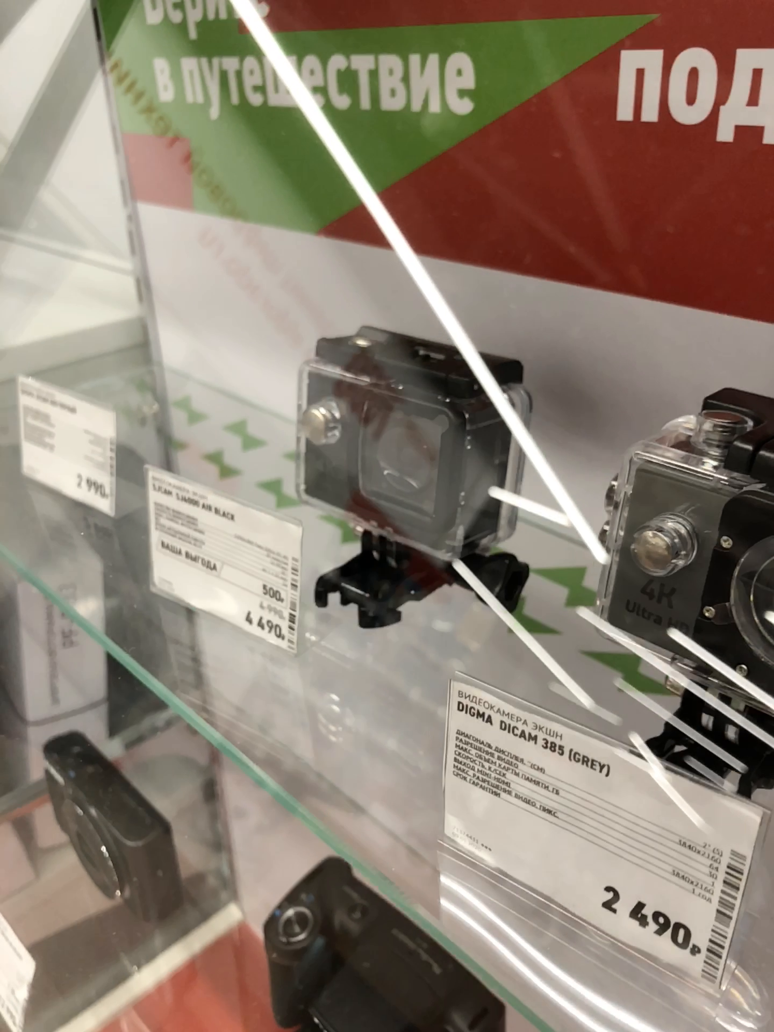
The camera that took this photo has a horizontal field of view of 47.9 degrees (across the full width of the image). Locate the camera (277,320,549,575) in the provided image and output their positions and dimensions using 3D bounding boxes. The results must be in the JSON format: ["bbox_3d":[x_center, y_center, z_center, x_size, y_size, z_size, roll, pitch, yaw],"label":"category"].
[{"bbox_3d":[0.005,-0.024,0.263,0.074,0.055,0.033,20,27,35],"label":"camera"}]
